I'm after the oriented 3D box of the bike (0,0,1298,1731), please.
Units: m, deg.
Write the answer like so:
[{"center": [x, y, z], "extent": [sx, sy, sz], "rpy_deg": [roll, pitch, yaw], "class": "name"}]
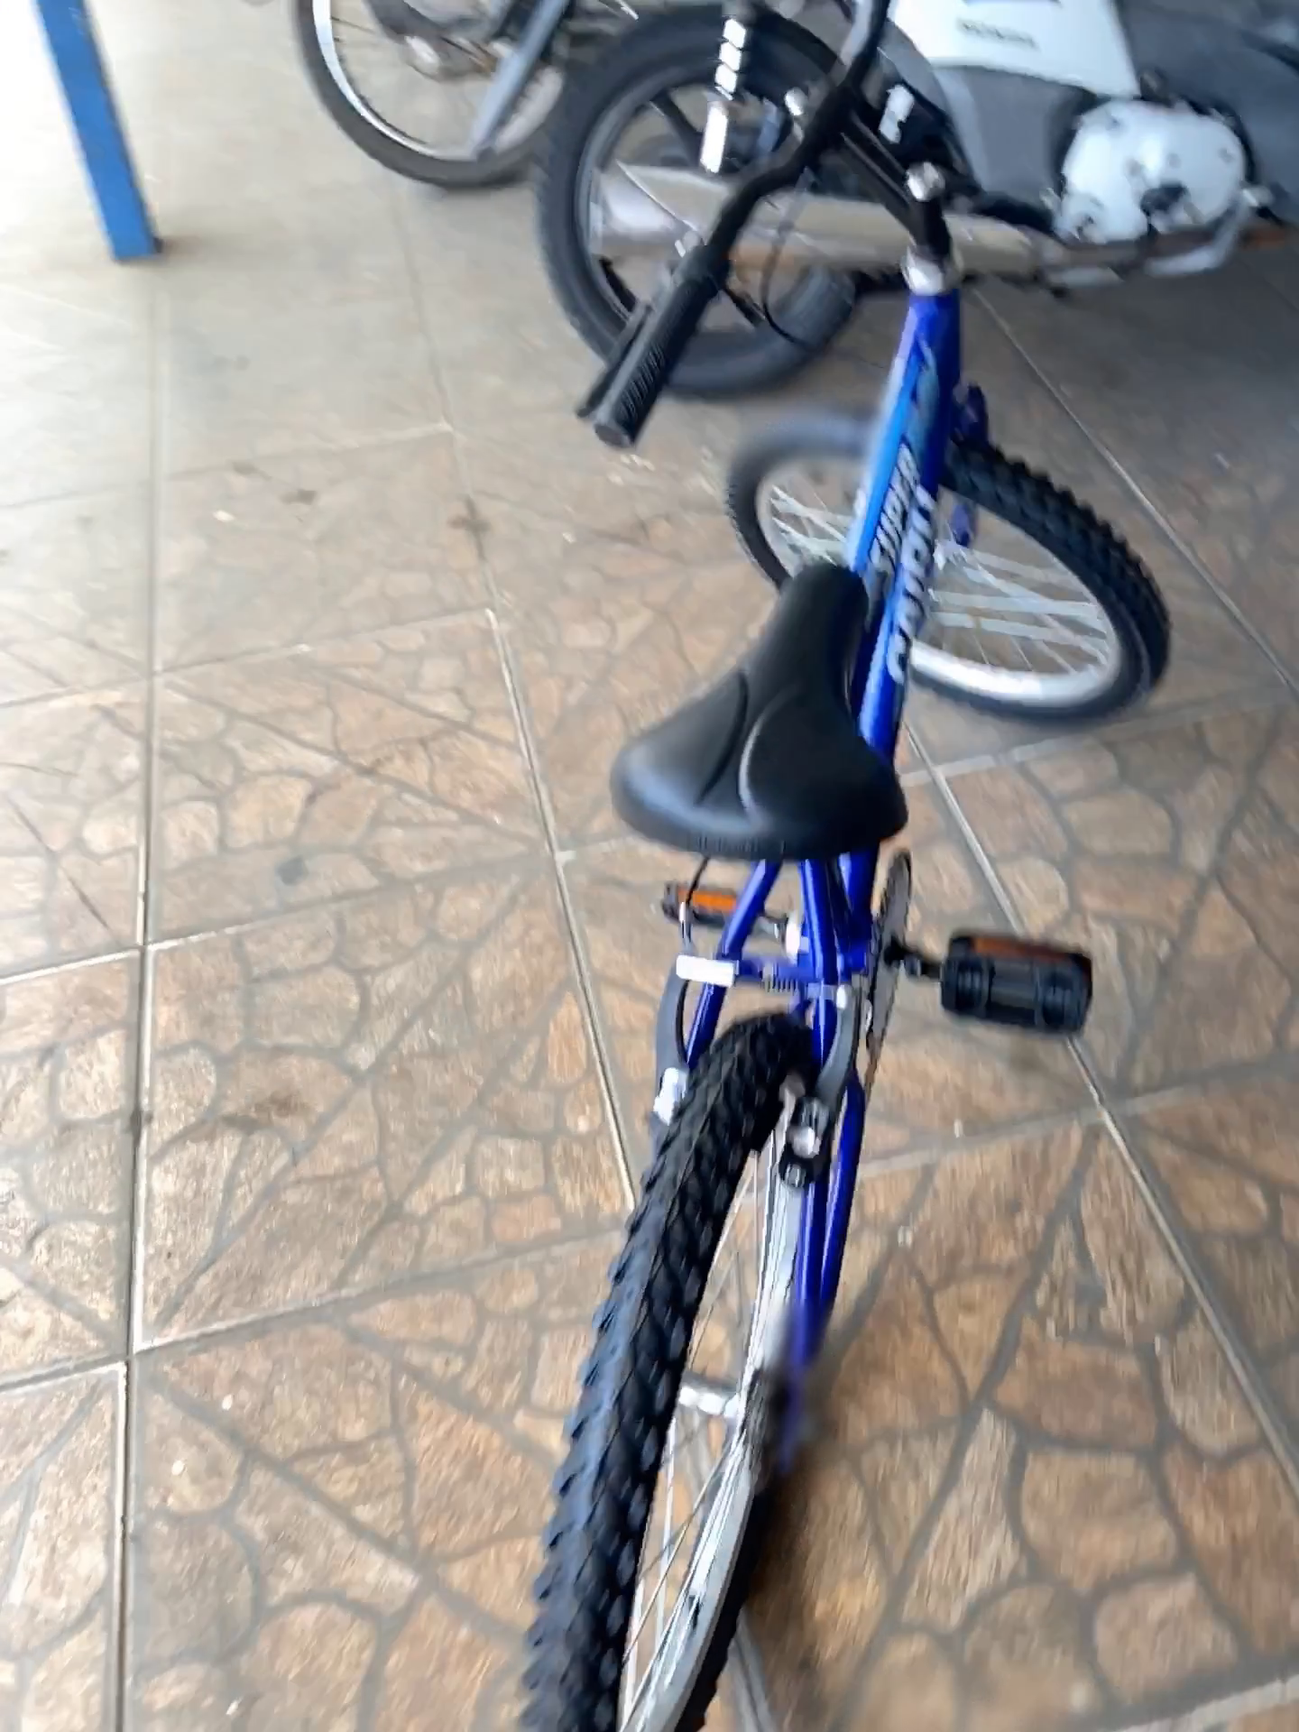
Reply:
[{"center": [0.062, -0.054, 0.864], "extent": [0.543, 0.950, 1.188], "rpy_deg": [6, 52, 7], "class": "bike"}]
